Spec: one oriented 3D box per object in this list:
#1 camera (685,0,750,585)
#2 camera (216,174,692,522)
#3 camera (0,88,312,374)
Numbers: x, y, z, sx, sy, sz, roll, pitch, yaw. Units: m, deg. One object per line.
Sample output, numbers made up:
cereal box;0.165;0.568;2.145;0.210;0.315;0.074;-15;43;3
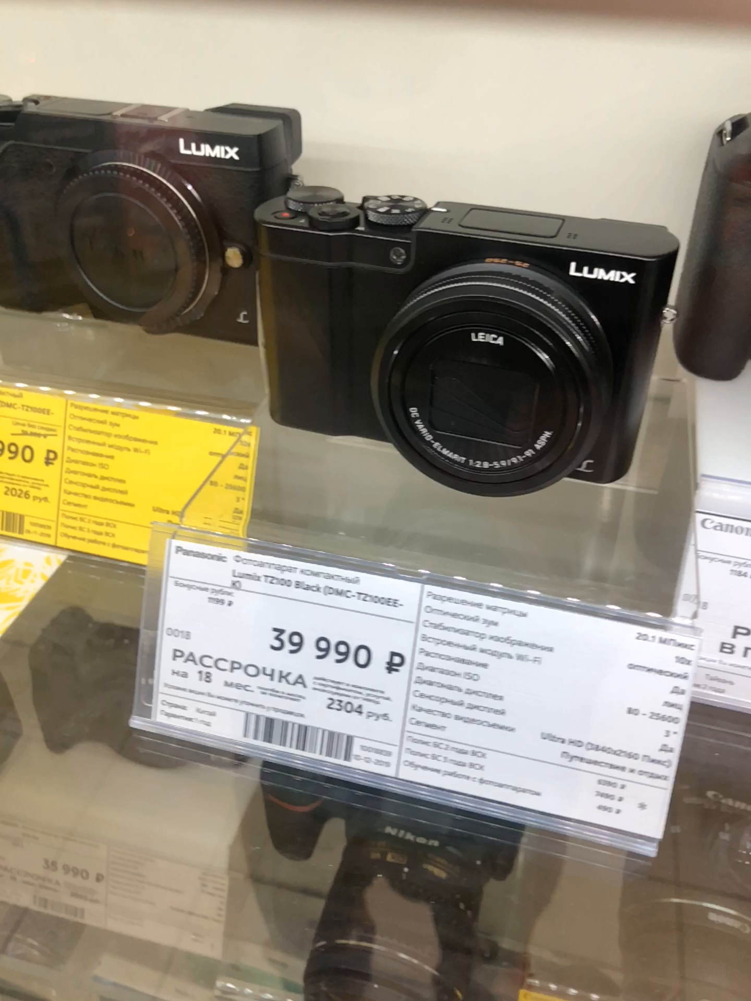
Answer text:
camera;0.184;-0.082;0.245;0.157;0.099;0.164;10;40;12
camera;0.019;-0.042;0.227;0.111;0.068;0.038;10;38;12
camera;-0.083;-0.094;0.286;0.108;0.068;0.055;10;38;12
